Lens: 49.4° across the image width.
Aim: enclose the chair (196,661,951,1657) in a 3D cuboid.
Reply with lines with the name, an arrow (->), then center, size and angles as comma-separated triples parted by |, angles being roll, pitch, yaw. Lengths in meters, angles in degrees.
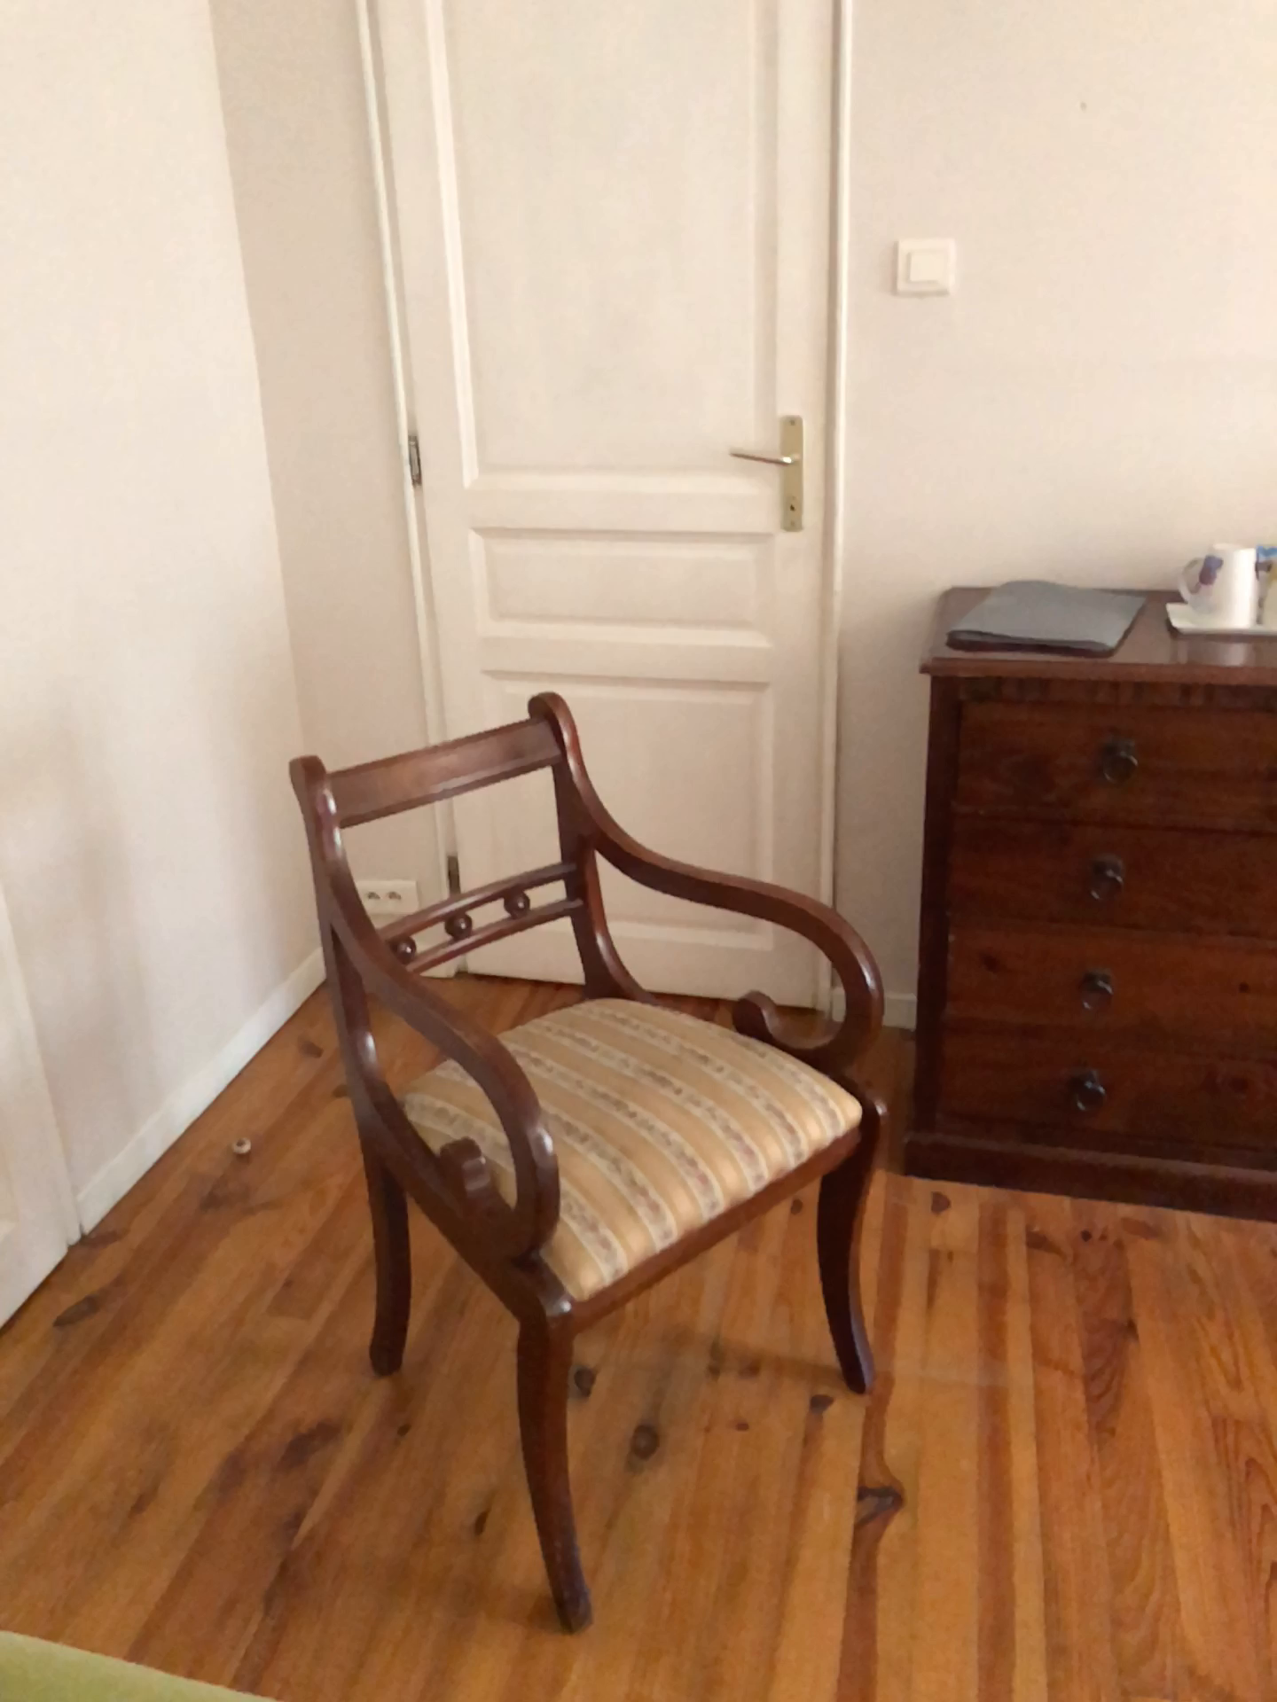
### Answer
chair -> -0.065, 0.284, 1.641 | 0.583, 0.826, 0.570 | -20, 28, -37
